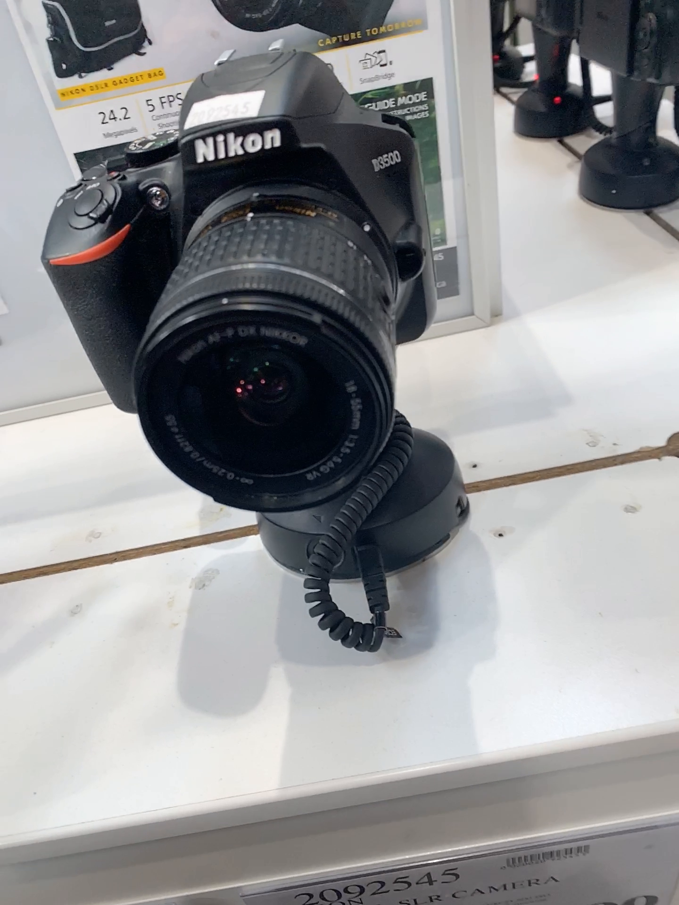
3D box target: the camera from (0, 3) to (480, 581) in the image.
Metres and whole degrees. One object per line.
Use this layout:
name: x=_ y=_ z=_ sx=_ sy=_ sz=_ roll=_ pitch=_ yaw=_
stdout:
camera: x=-0.032 y=-0.050 z=0.200 sx=0.116 sy=0.099 sz=0.121 roll=-9 pitch=38 yaw=6
